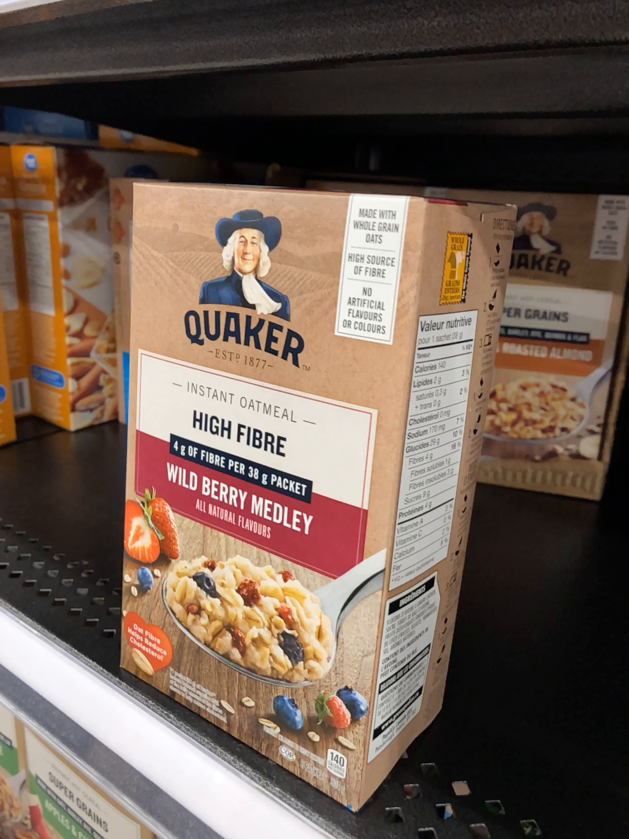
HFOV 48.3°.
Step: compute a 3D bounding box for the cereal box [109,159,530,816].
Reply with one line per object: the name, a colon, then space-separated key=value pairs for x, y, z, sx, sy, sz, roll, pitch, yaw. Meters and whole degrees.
cereal box: x=-0.009 y=0.013 z=0.262 sx=0.130 sy=0.199 sz=0.060 roll=15 pitch=18 yaw=33
